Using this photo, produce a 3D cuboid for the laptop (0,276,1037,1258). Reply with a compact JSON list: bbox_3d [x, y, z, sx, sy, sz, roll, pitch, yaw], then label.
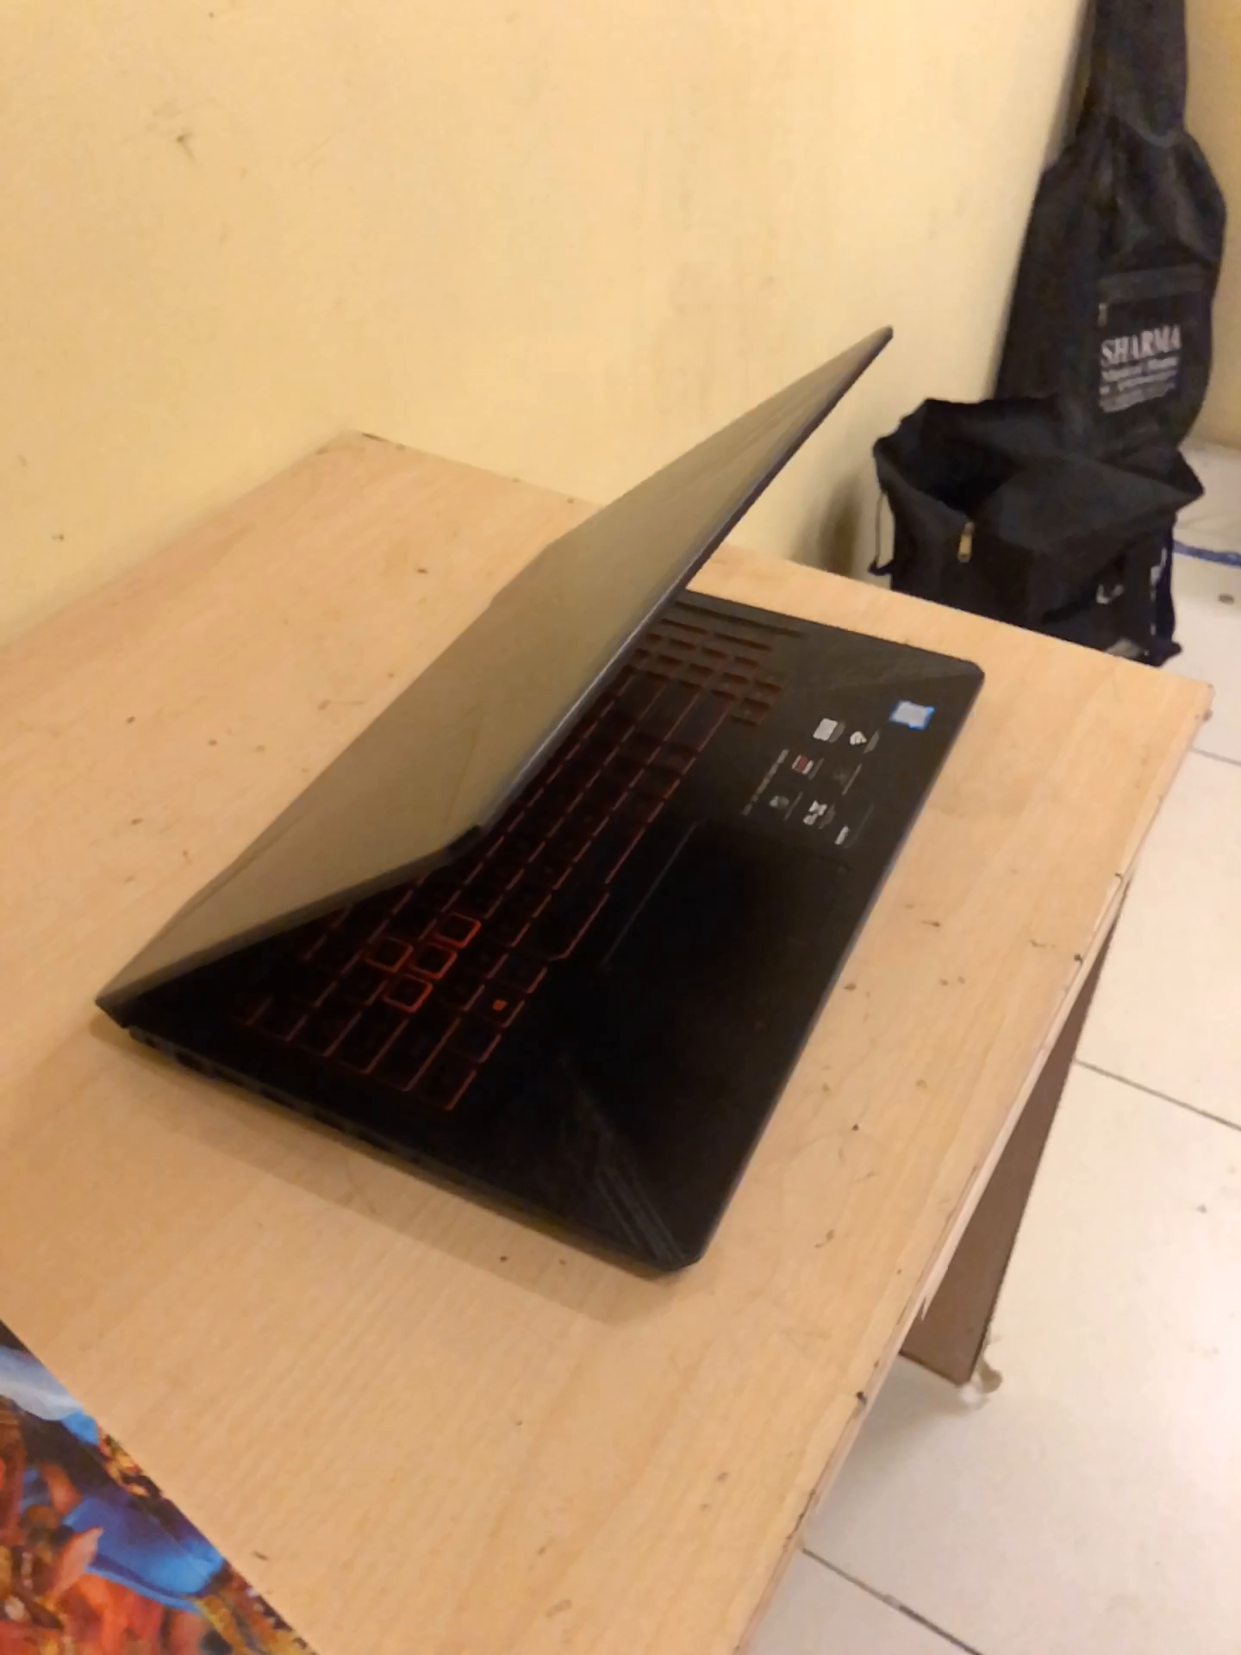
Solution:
[{"bbox_3d":[-0.009,-0.064,0.582,0.252,0.173,0.371,17,46,20],"label":"laptop"}]
